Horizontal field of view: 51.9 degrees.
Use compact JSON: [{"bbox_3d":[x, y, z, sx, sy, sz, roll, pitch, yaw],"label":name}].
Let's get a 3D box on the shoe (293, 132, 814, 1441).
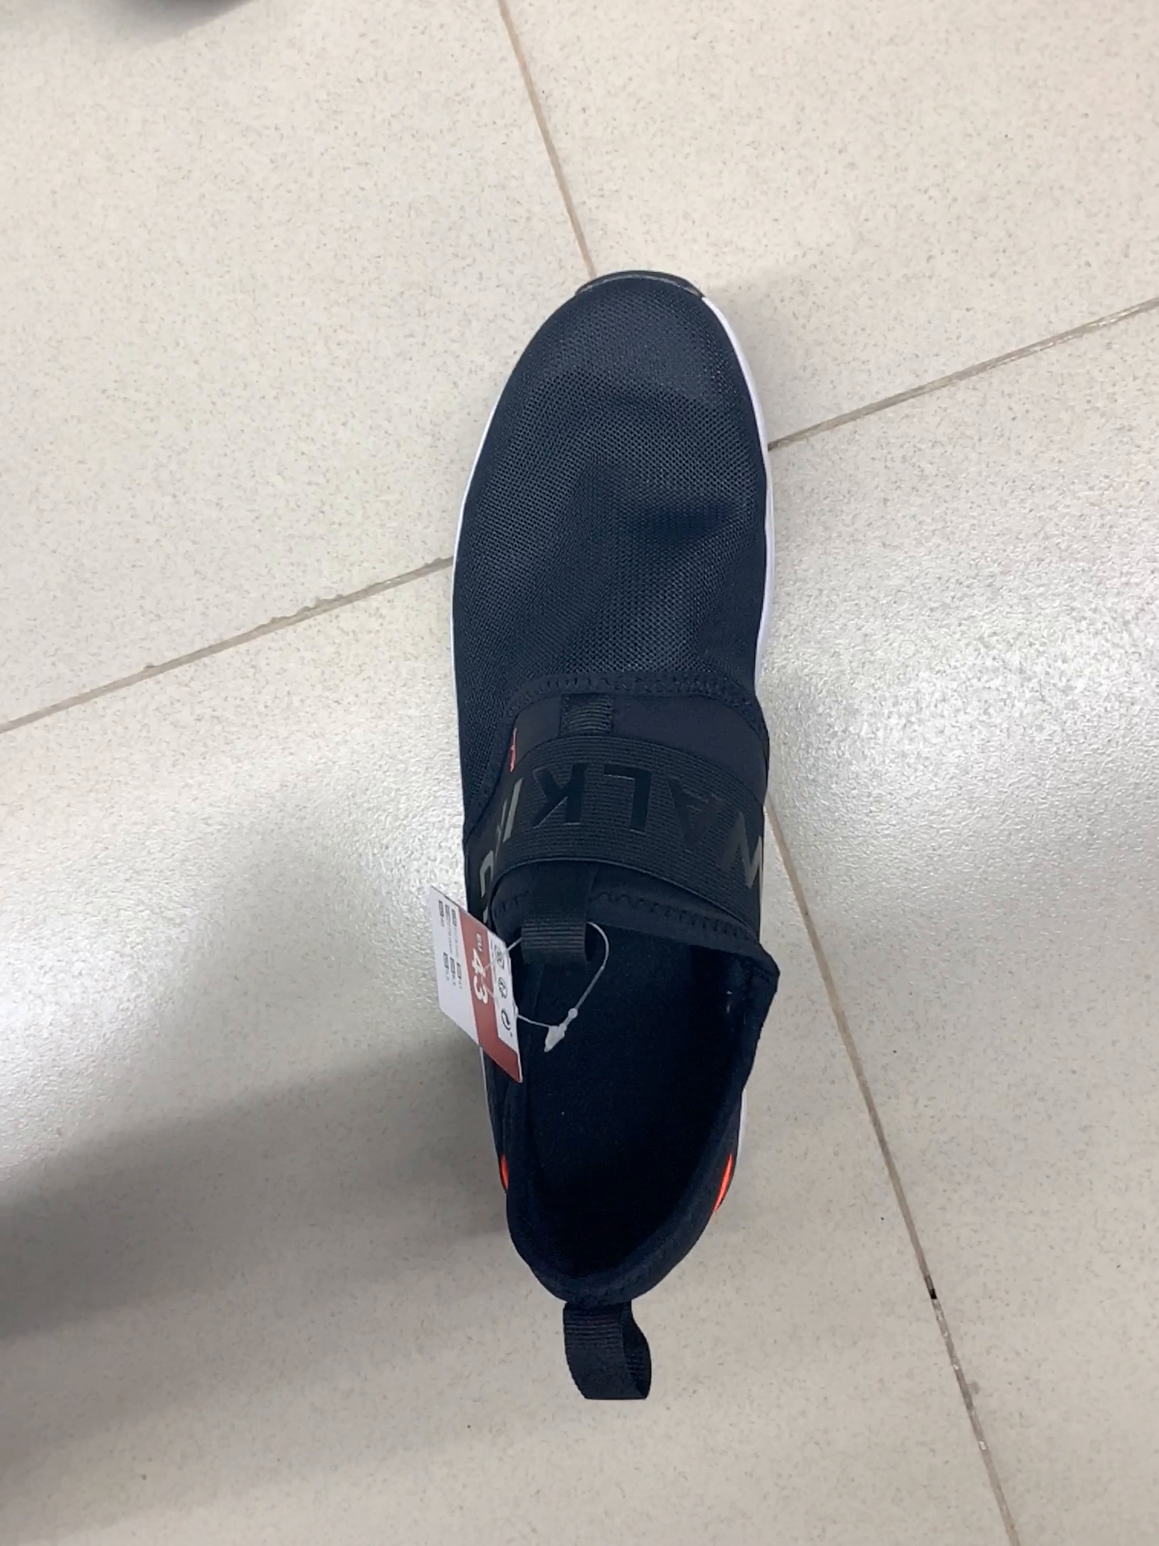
[{"bbox_3d":[0.004,0.005,0.324,0.110,0.120,0.280,-2,91,11],"label":"shoe"}]
